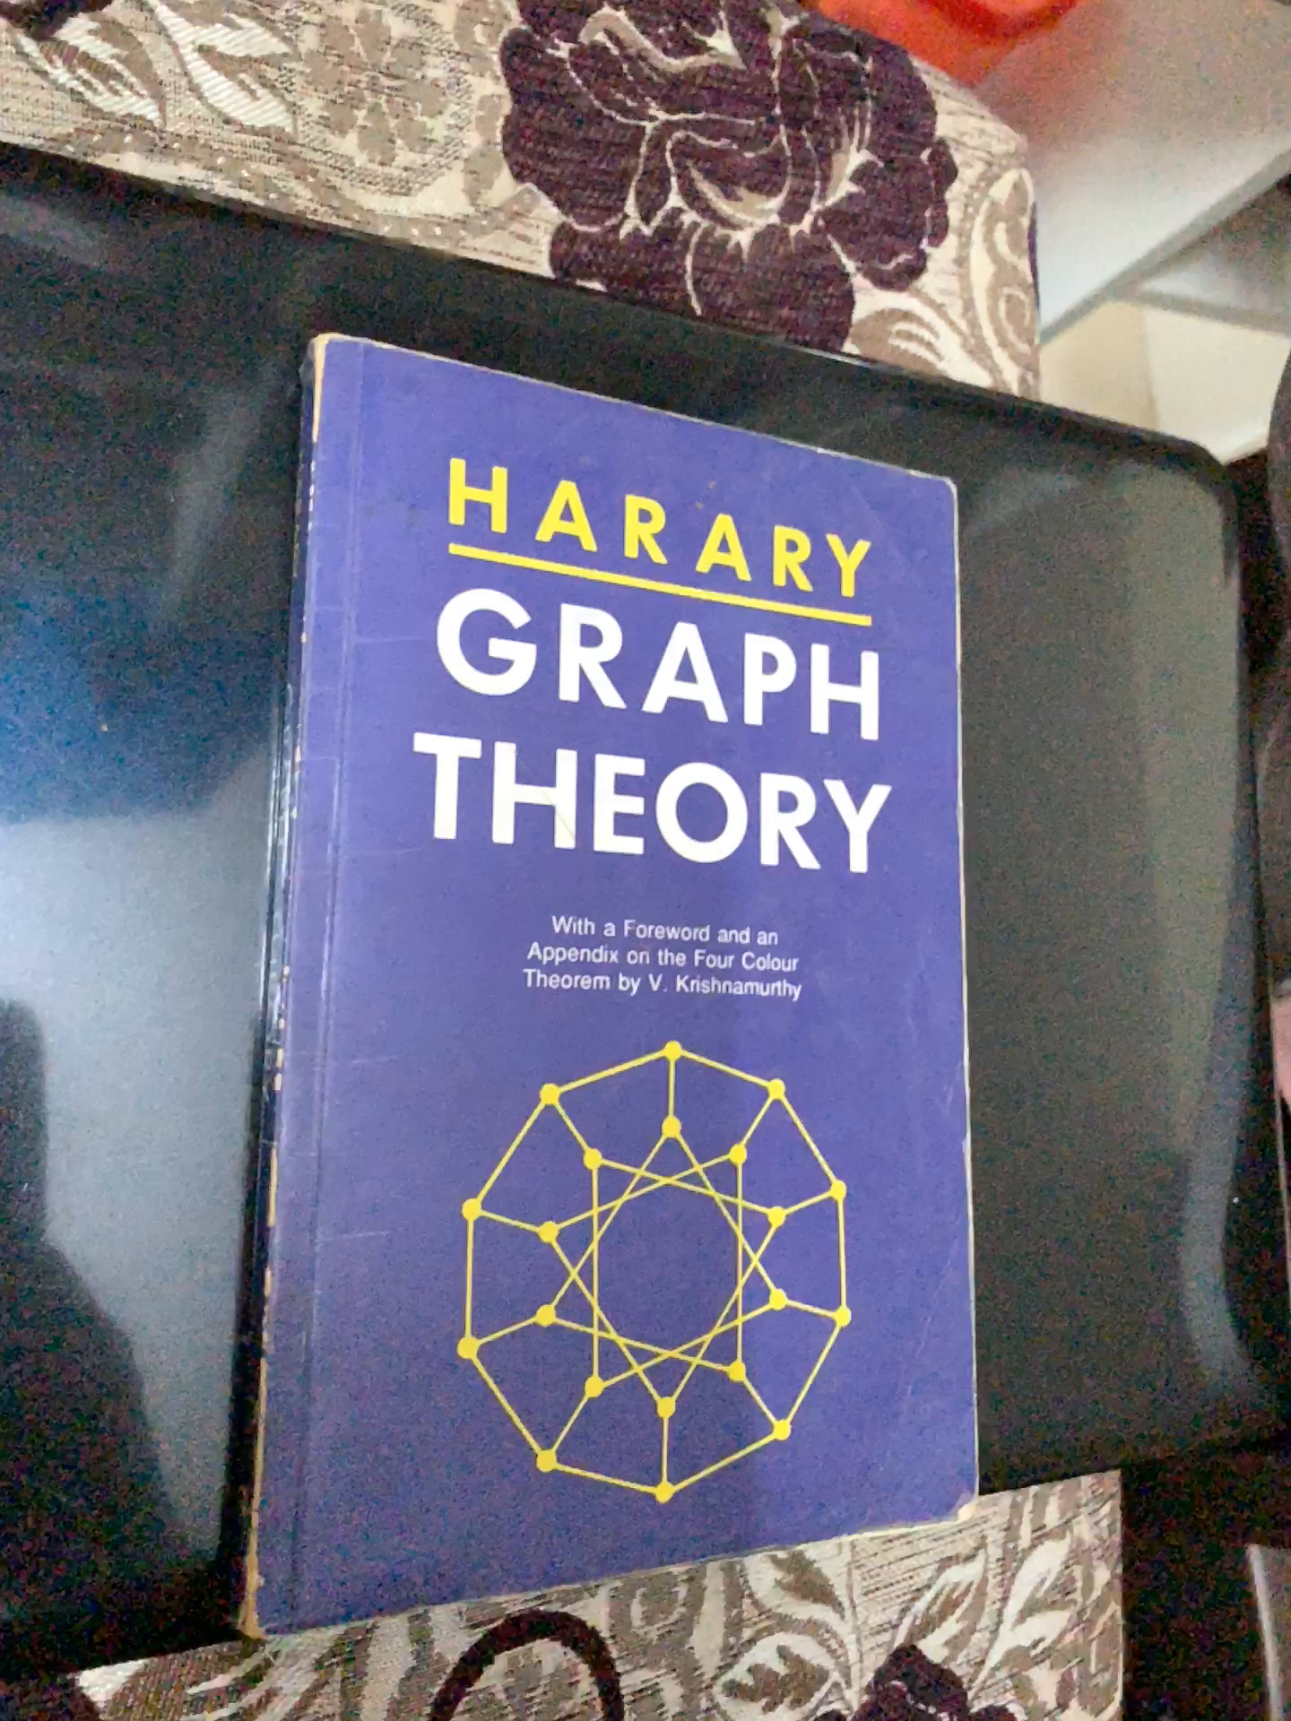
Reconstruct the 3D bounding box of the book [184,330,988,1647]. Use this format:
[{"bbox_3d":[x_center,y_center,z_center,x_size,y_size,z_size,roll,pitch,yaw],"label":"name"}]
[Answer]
[{"bbox_3d":[-0.001,0.019,0.244,0.140,0.020,0.200,5,81,-25],"label":"book"}]
